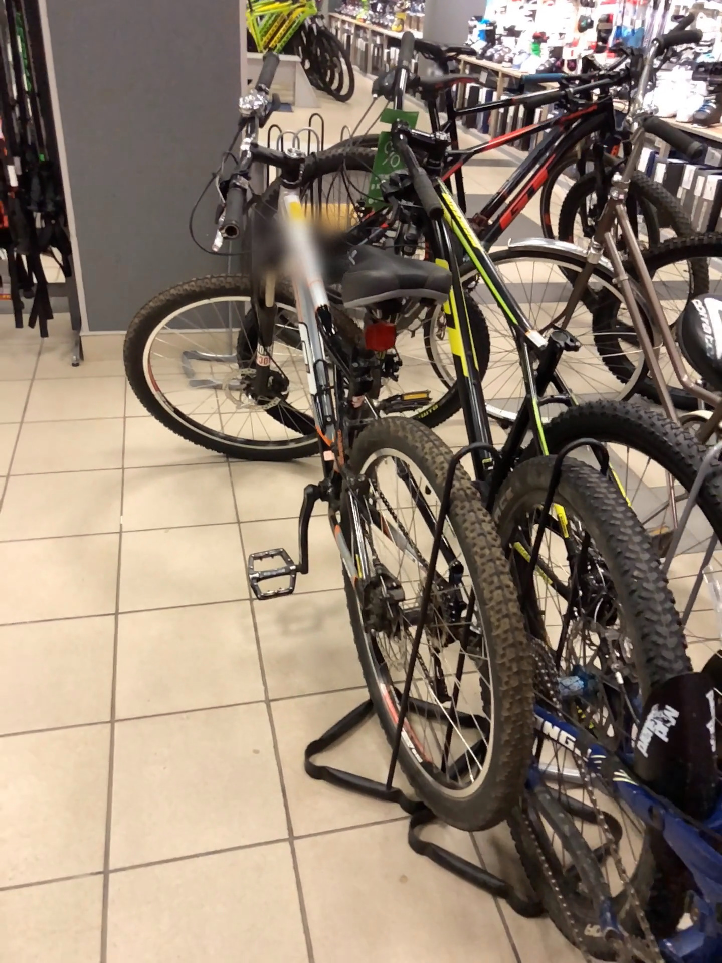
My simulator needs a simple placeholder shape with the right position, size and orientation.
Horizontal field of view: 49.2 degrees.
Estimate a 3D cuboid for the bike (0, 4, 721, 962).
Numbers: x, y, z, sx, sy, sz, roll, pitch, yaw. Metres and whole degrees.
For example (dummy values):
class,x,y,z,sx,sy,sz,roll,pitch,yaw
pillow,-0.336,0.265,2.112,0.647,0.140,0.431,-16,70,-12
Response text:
class,x,y,z,sx,sy,sz,roll,pitch,yaw
bike,-0.137,-0.166,1.424,0.626,1.012,1.430,-16,39,-30
